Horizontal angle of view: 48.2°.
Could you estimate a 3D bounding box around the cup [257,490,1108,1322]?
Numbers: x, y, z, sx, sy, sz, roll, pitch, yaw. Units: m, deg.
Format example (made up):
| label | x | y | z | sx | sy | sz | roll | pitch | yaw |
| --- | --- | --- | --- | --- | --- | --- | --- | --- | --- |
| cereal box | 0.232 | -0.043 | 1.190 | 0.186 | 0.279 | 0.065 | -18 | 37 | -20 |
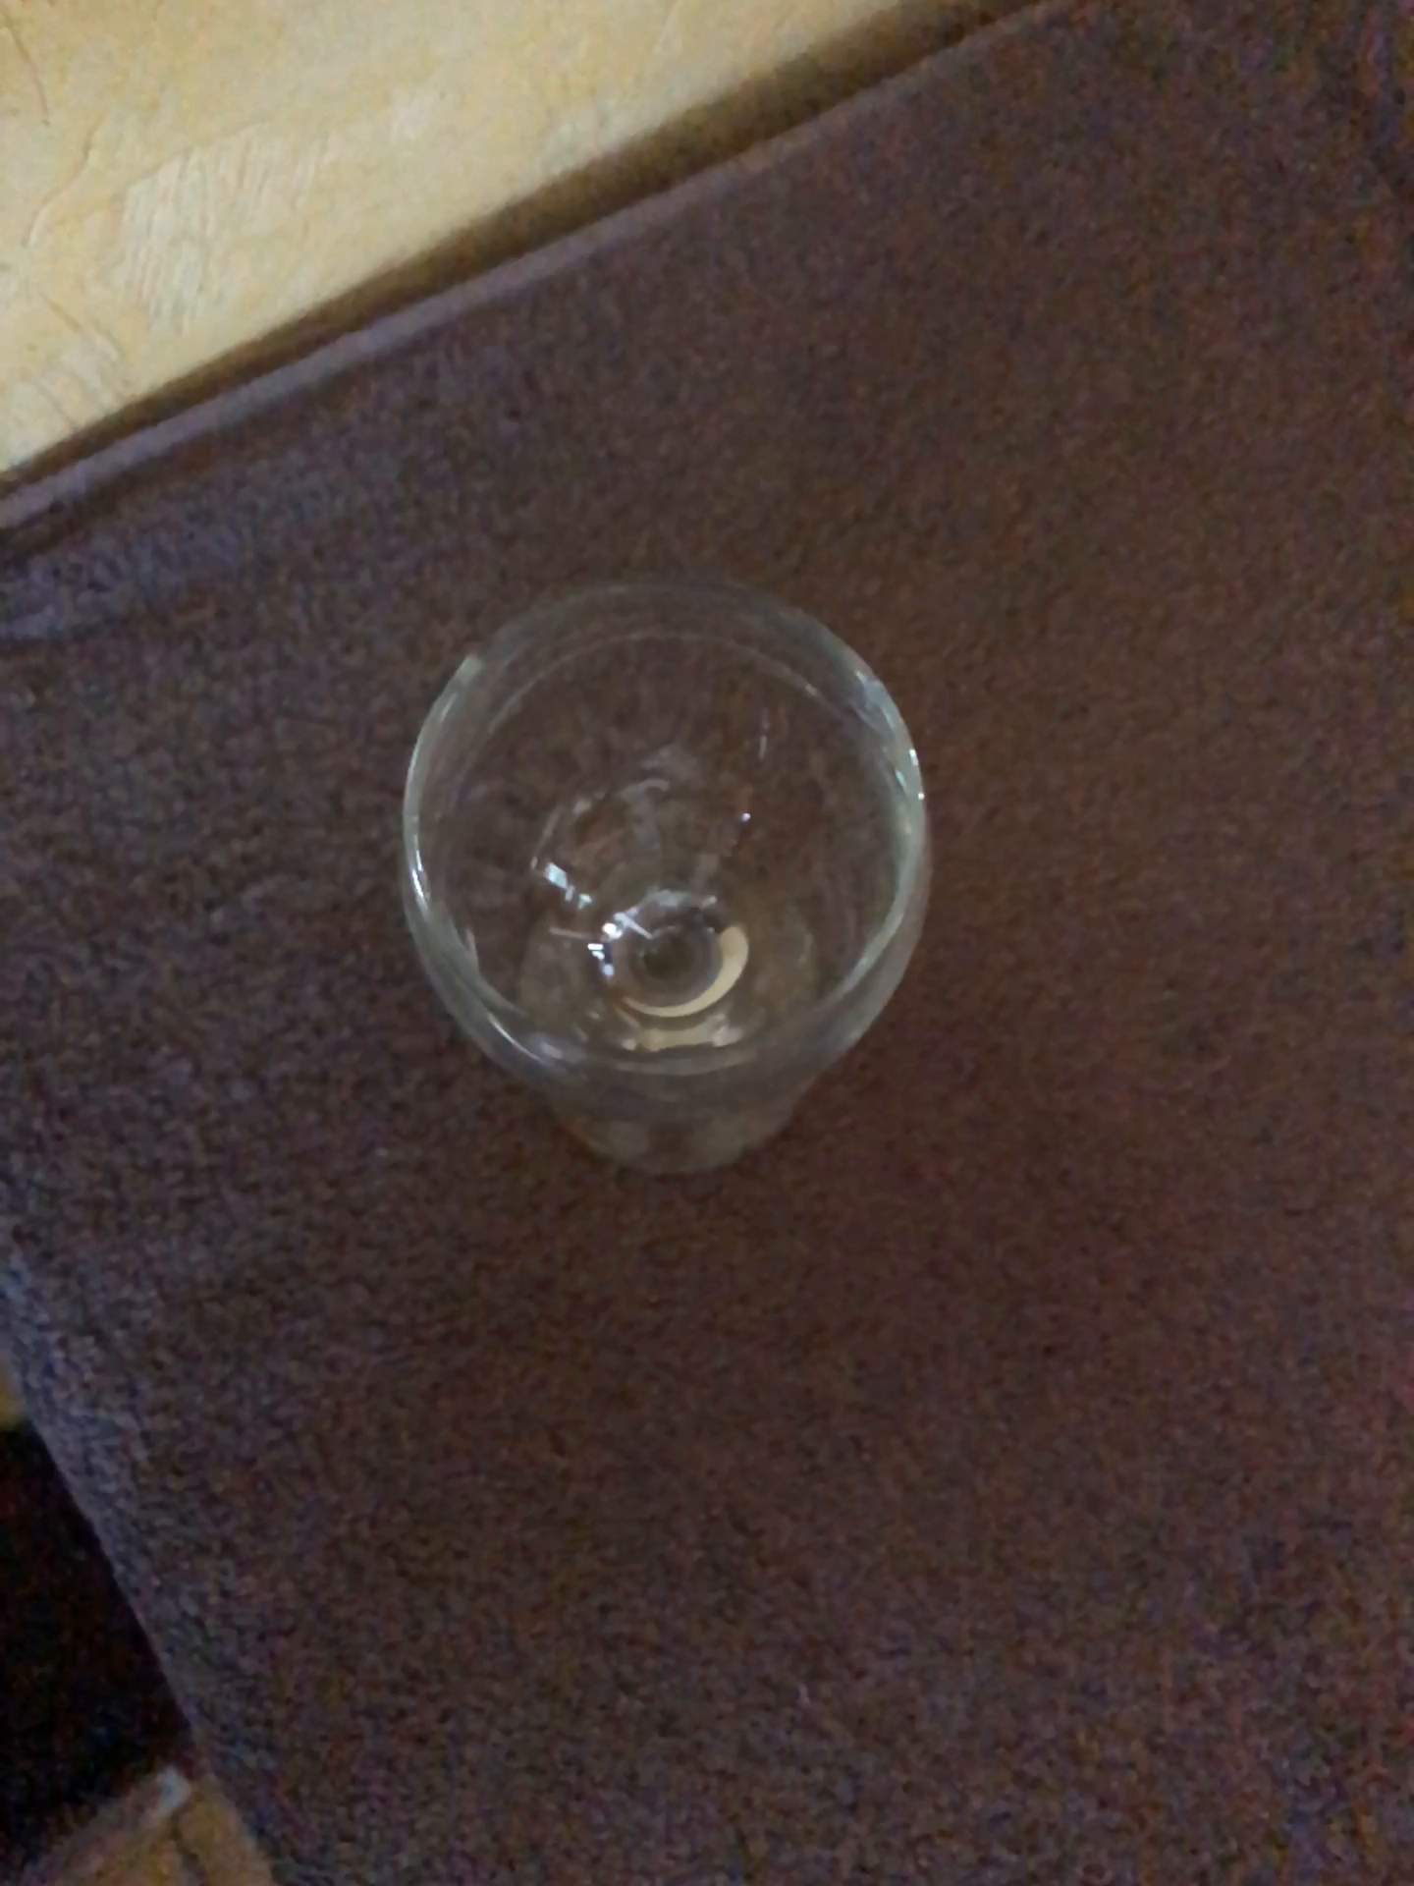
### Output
| label | x | y | z | sx | sy | sz | roll | pitch | yaw |
| --- | --- | --- | --- | --- | --- | --- | --- | --- | --- |
| cup | -0.002 | 0.008 | 0.243 | 0.070 | 0.130 | 0.070 | 0 | 76 | 0 |
